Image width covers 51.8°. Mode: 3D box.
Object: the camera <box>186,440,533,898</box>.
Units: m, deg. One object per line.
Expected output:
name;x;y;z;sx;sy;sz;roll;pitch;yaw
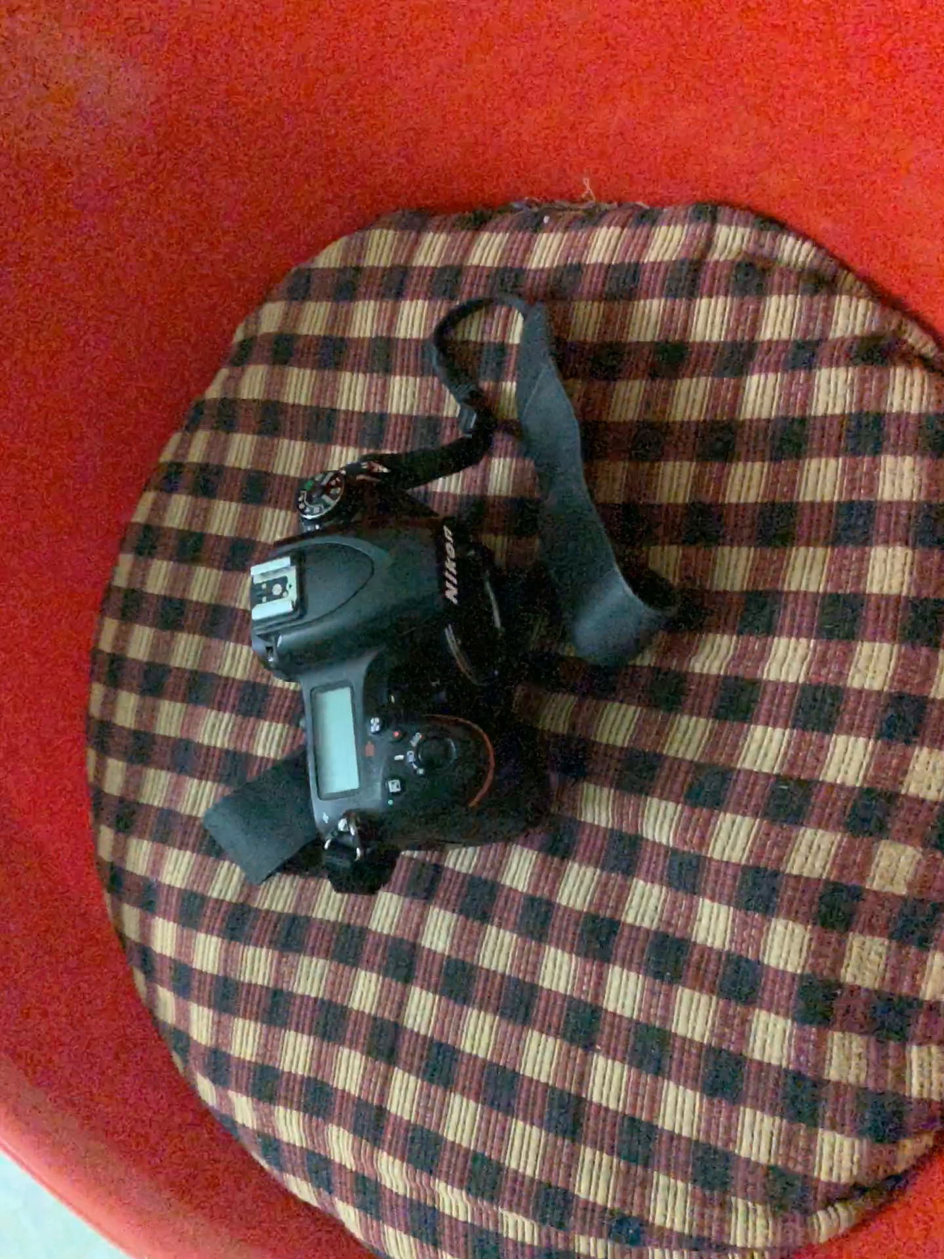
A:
camera;-0.039;0.018;0.354;0.080;0.090;0.140;-8;82;27
